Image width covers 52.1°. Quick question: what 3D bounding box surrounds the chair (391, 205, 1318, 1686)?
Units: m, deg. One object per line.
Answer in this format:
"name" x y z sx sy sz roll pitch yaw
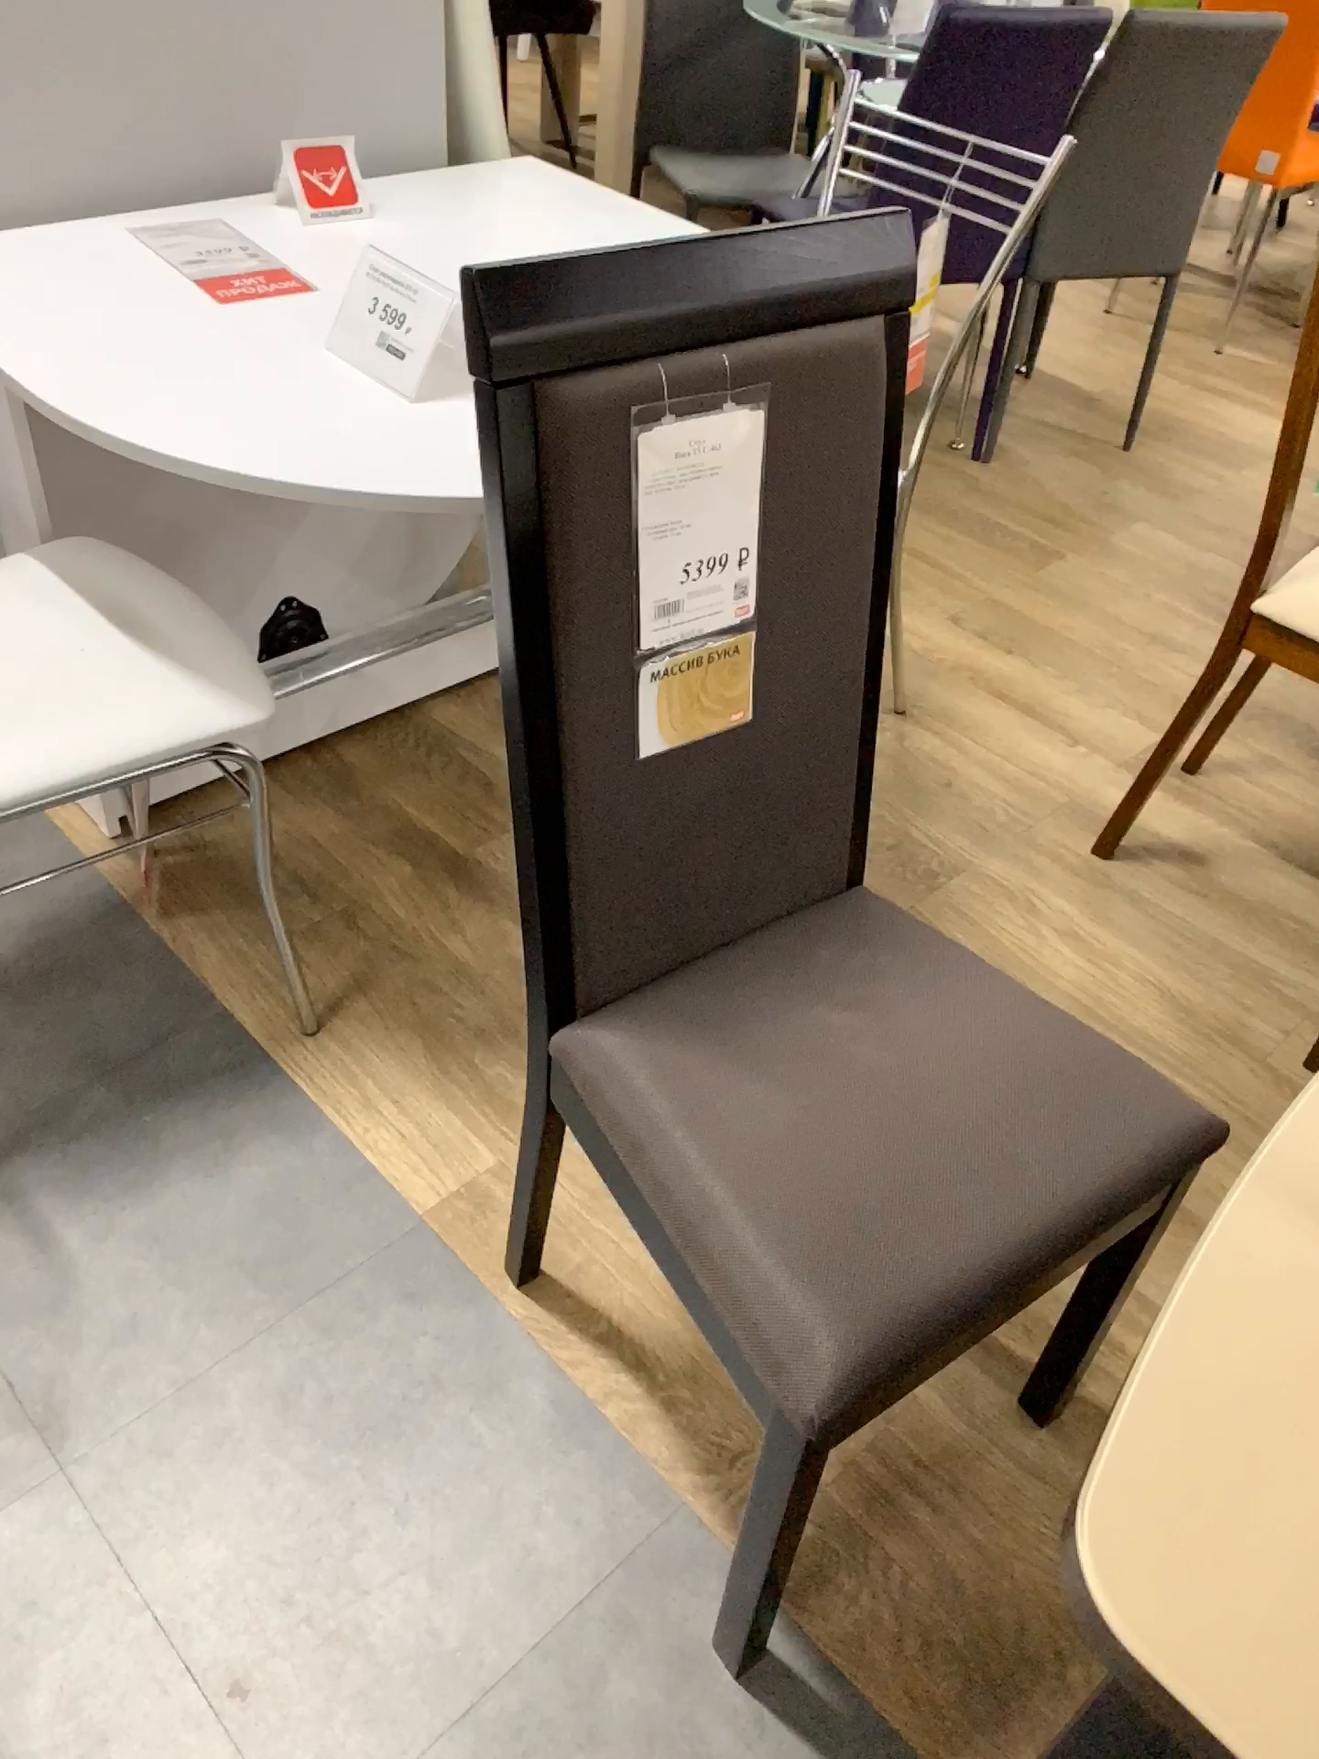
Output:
"chair" 0.126 0.094 1.069 0.441 0.994 0.502 -22 49 -28
